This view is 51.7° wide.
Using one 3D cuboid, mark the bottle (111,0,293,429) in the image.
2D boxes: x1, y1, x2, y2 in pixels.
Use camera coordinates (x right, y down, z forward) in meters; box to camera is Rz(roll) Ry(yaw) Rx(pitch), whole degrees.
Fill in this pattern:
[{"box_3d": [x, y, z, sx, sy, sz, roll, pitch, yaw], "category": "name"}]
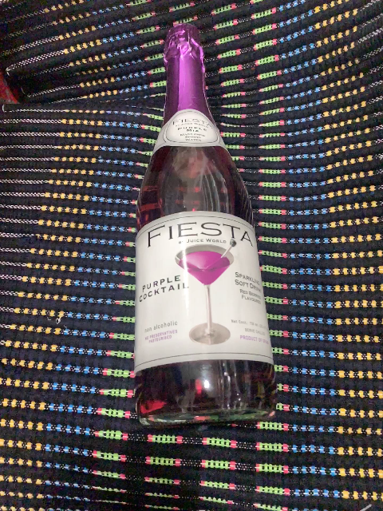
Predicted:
[{"box_3d": [-0.001, -0.060, 0.285, 0.080, 0.080, 0.331, -4, 63, 2], "category": "bottle"}]
